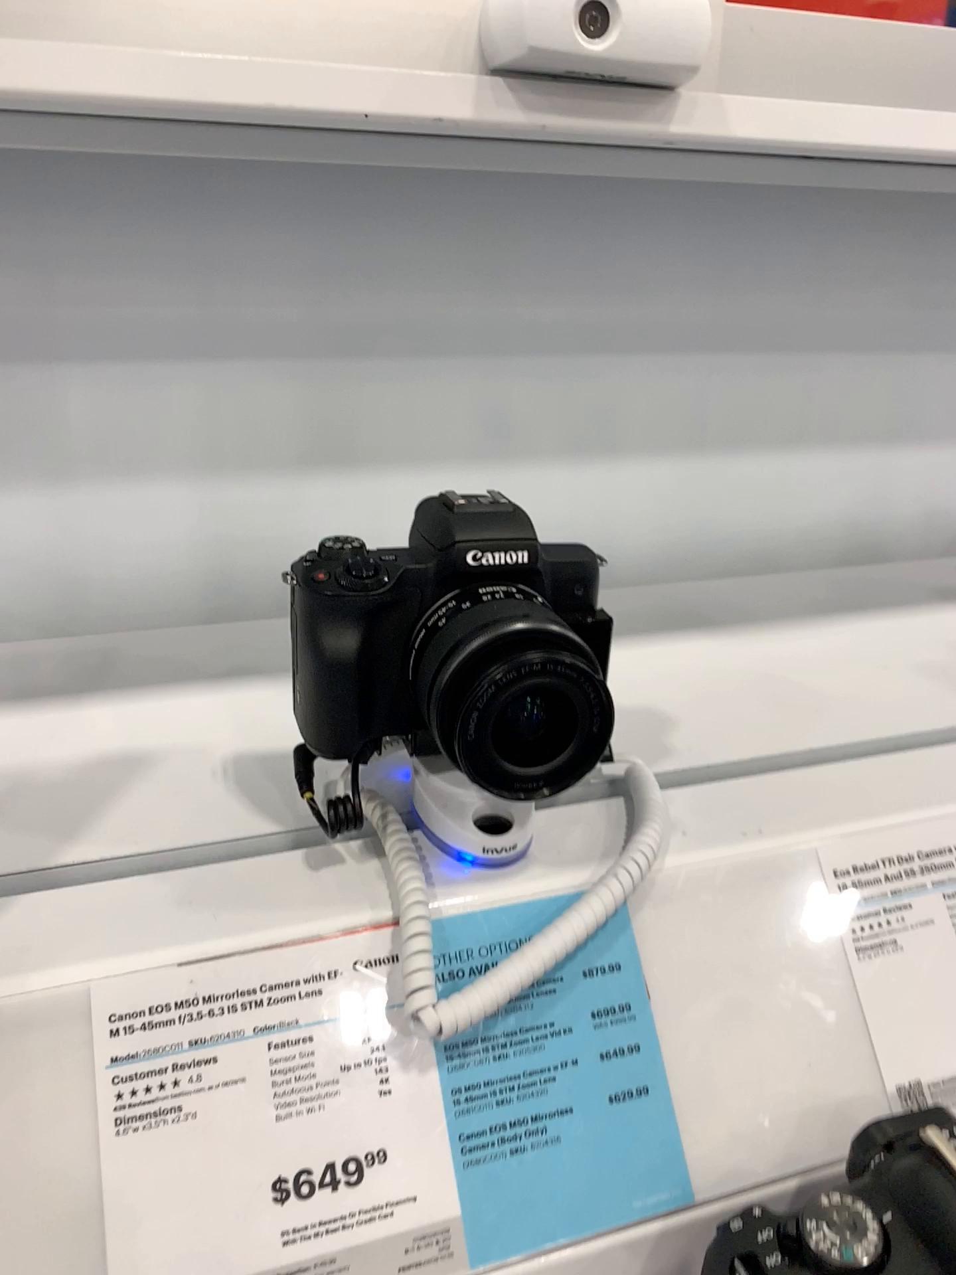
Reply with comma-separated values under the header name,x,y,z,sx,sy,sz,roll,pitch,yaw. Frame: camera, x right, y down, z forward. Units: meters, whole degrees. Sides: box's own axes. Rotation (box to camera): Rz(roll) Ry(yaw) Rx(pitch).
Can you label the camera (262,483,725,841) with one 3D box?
name,x,y,z,sx,sy,sz,roll,pitch,yaw
camera,-0.002,-0.001,0.352,0.130,0.080,0.110,-5,22,-17
